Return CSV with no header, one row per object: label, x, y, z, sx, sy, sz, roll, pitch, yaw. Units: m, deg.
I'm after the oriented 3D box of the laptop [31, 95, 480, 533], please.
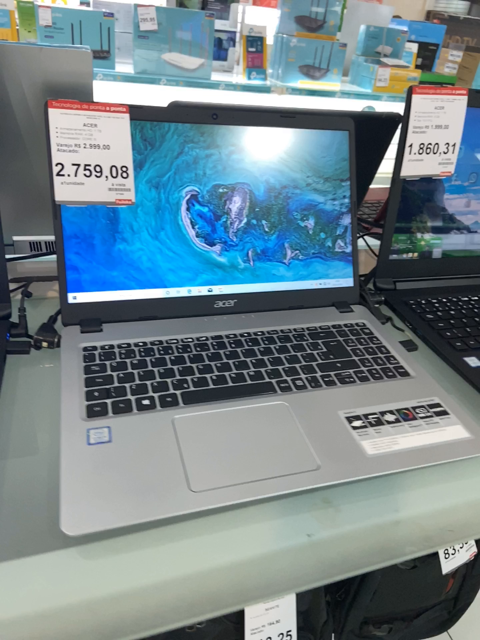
laptop,0.013,-0.060,0.465,0.351,0.198,0.363,-4,34,-17
